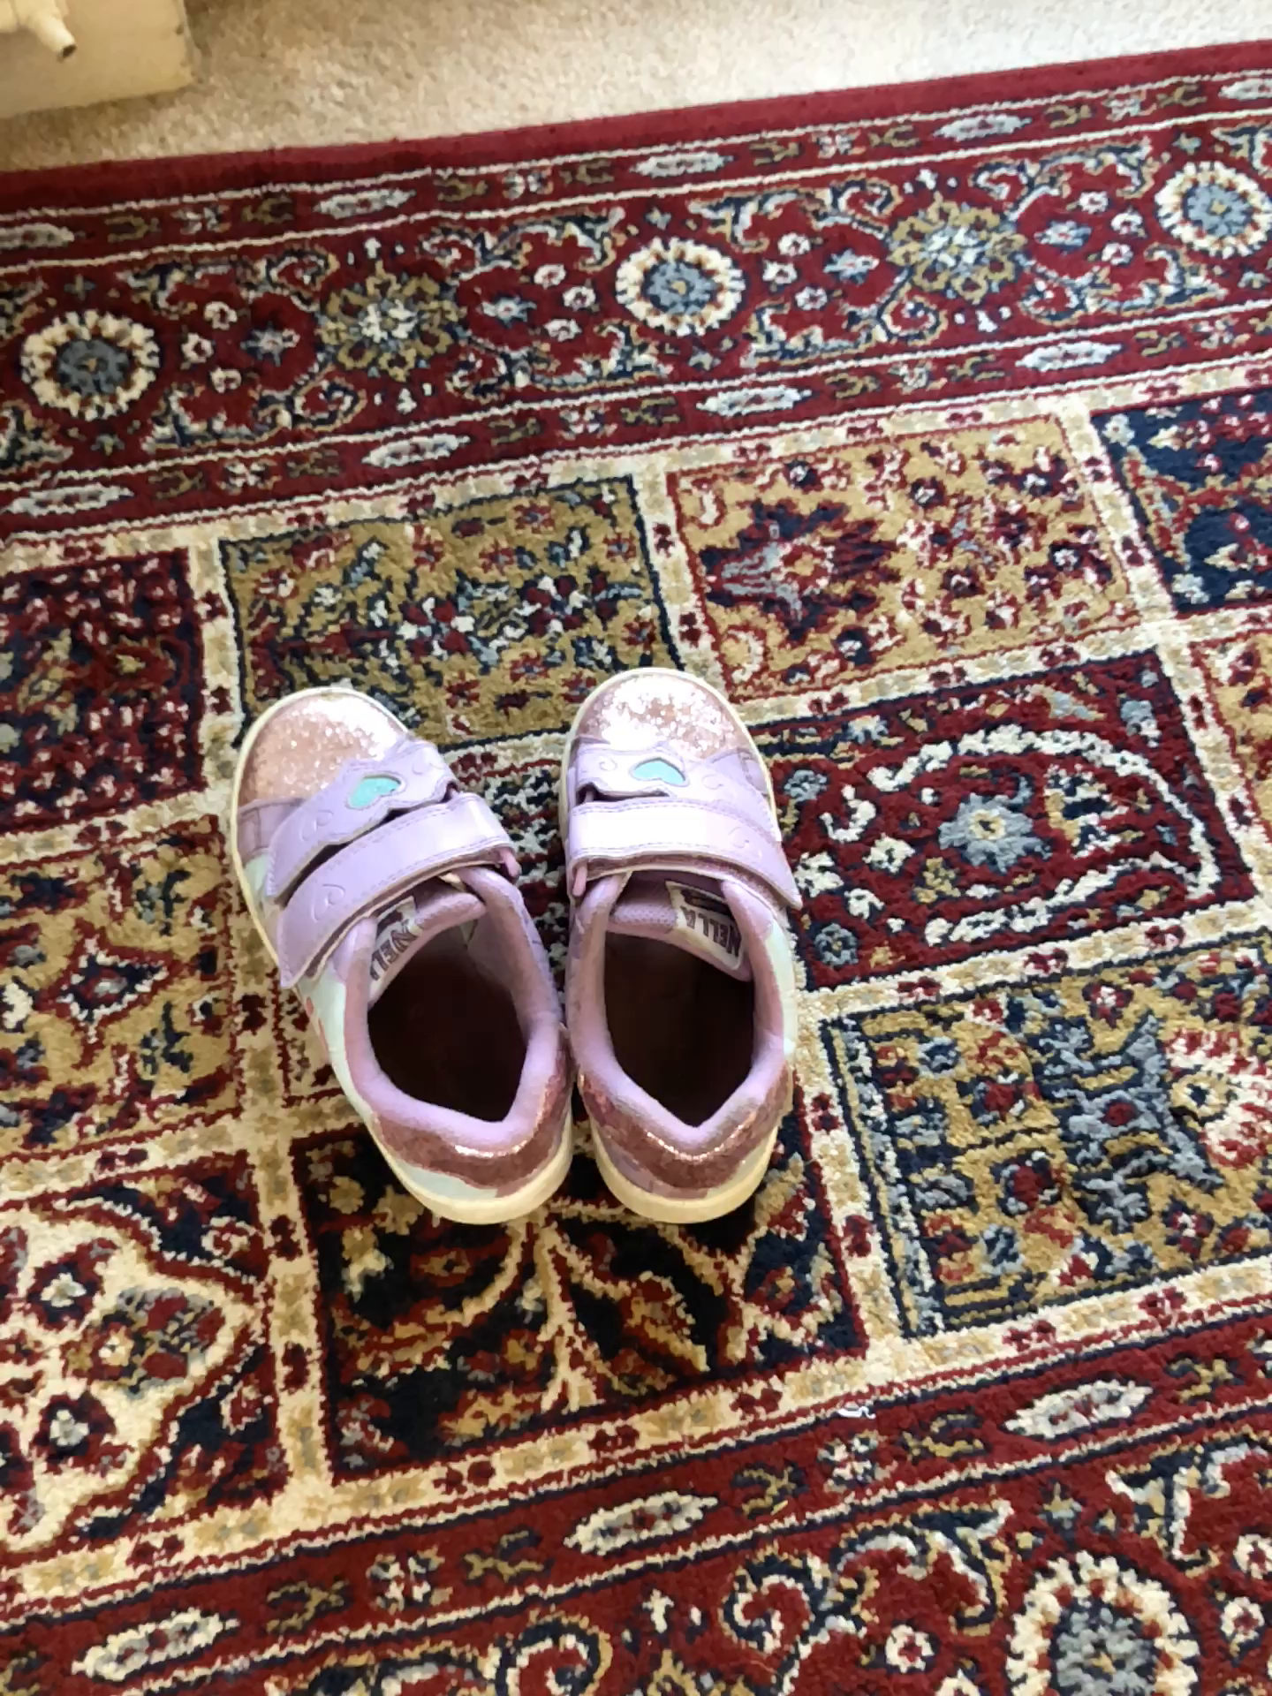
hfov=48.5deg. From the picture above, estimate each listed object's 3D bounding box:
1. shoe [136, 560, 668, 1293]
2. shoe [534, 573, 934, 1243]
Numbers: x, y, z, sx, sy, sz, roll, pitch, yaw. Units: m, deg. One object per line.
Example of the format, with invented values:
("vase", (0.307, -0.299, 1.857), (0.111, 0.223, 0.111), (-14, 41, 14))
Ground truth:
("shoe", (-0.078, 0.025, 0.472), (0.090, 0.090, 0.209), (-23, 70, -12))
("shoe", (0.023, 0.020, 0.476), (0.100, 0.090, 0.201), (-4, 67, -5))
